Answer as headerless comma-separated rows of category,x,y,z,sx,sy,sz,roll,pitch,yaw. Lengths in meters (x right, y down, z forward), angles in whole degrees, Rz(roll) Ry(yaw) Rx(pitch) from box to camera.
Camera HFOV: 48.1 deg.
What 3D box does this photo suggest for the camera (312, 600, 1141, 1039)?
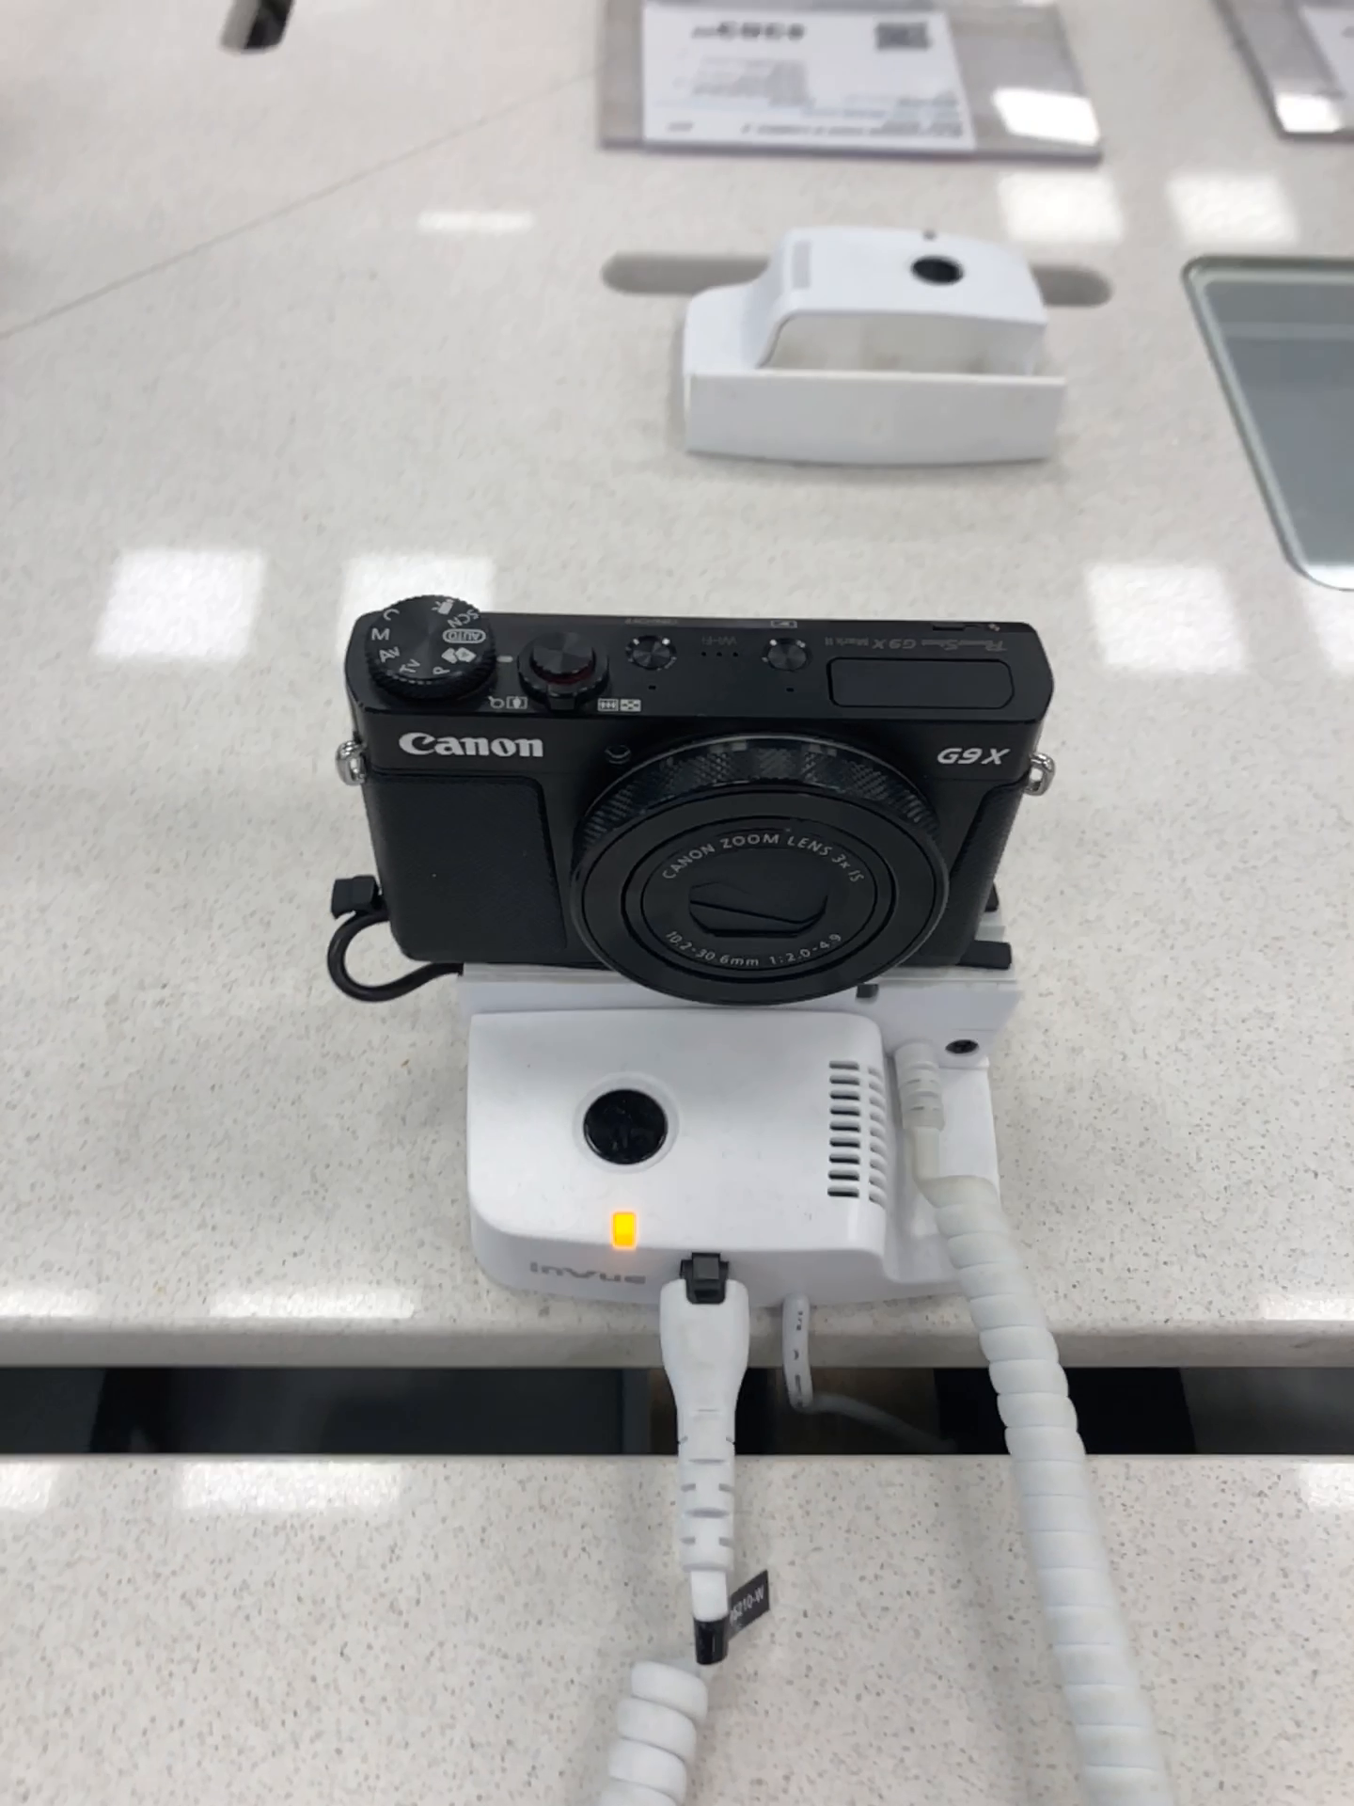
camera,0.005,-0.009,0.215,0.100,0.060,0.030,1,54,-2
